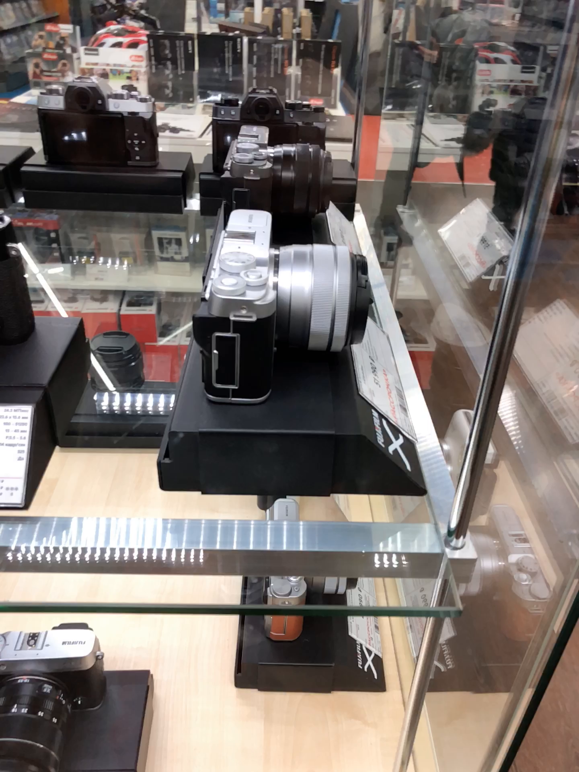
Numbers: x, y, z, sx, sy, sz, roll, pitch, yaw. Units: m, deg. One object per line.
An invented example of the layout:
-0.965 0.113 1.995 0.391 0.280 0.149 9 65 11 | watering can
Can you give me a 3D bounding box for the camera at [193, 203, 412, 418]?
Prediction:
0.004 -0.049 0.365 0.100 0.066 0.134 2 33 -2 | camera
